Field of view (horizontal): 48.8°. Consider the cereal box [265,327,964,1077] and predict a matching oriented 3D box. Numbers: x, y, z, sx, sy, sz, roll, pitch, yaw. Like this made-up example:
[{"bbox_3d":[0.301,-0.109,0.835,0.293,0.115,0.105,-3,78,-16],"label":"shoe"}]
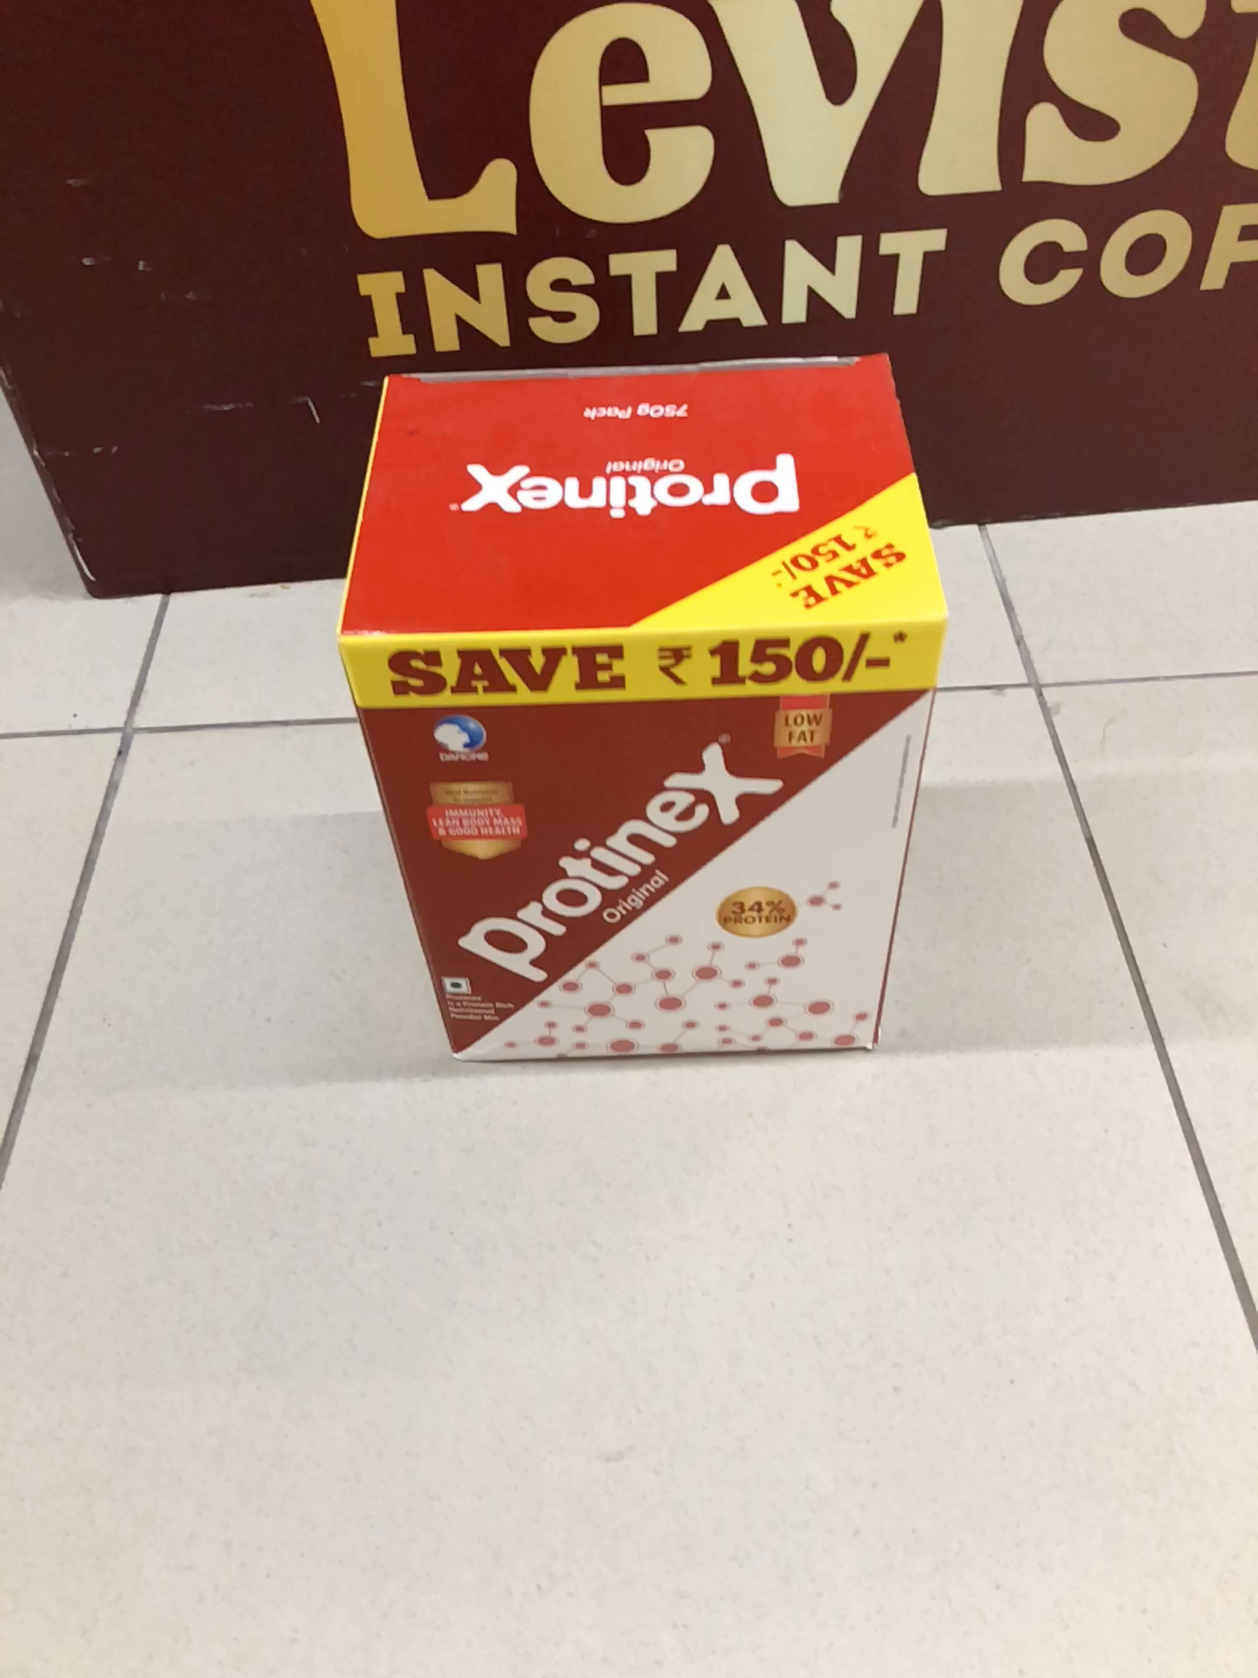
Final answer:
[{"bbox_3d":[-0.002,-0.033,0.432,0.160,0.199,0.121,-2,50,0],"label":"cereal box"}]
